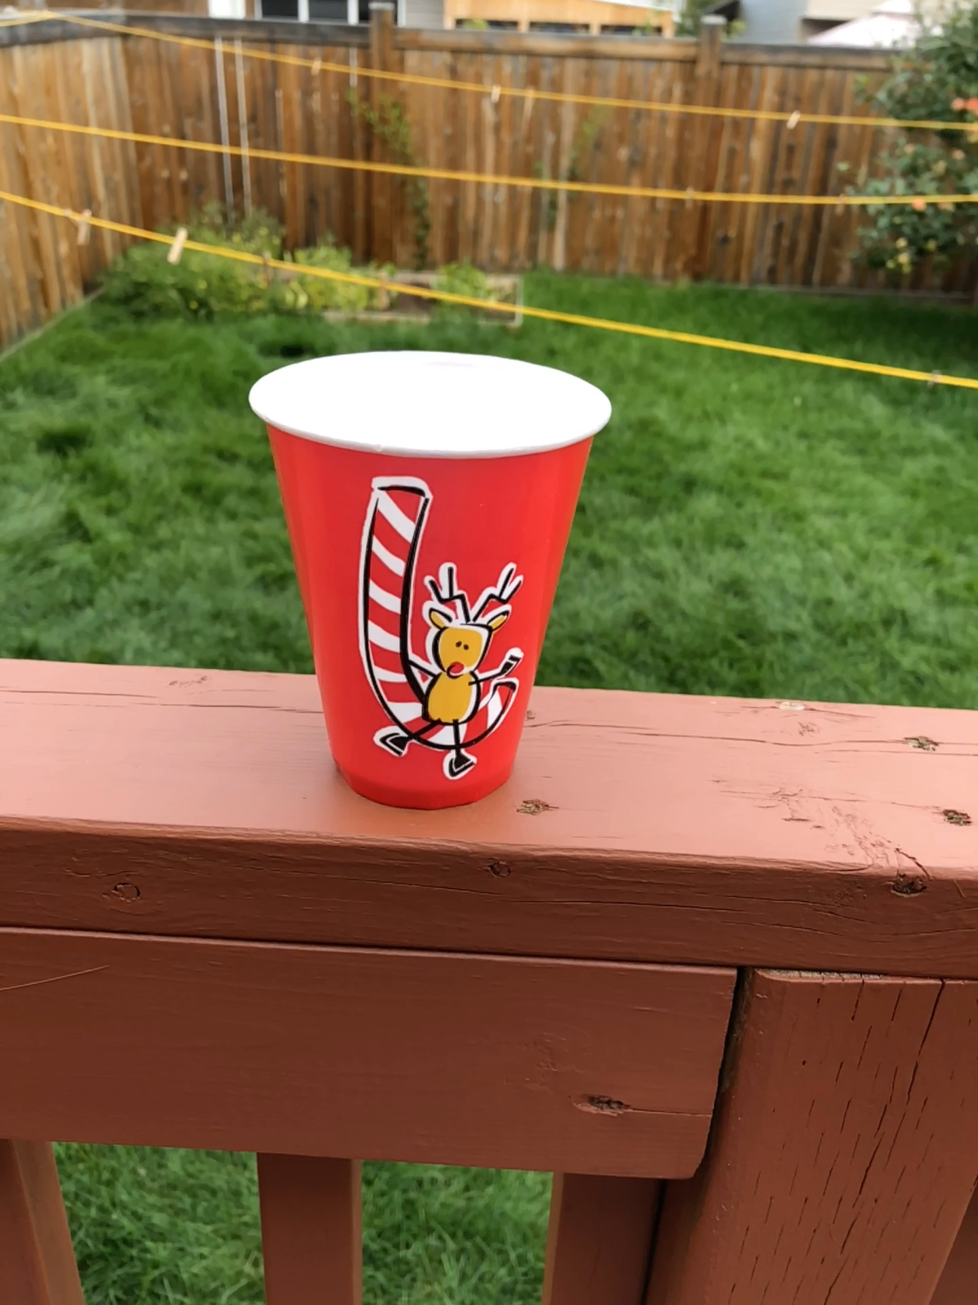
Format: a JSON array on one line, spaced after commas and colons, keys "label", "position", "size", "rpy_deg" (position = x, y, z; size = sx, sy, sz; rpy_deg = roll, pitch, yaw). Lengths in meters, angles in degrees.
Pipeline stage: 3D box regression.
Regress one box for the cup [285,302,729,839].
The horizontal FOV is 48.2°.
[{"label": "cup", "position": [-0.003, -0.024, 0.263], "size": [0.080, 0.100, 0.080], "rpy_deg": [2, 28, -1]}]
